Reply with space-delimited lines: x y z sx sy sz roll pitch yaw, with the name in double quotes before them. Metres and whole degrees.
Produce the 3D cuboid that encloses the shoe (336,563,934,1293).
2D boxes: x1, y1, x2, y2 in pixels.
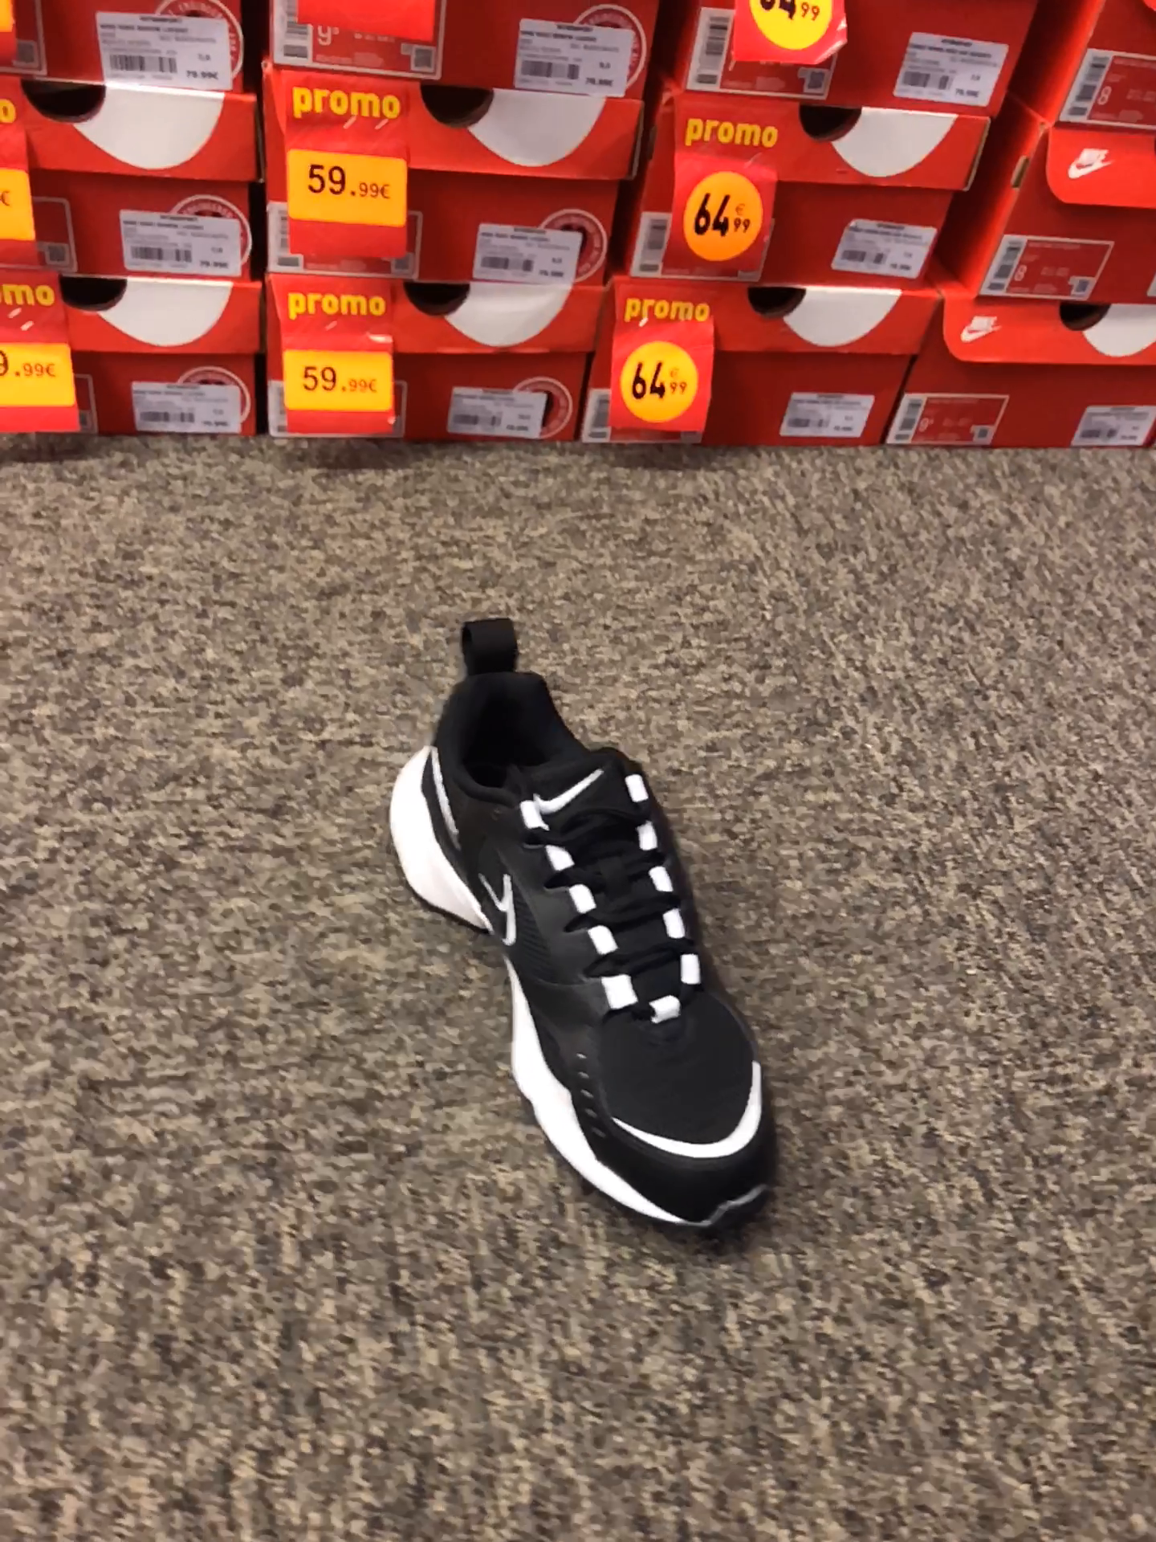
"shoe" 0.004 0.050 0.517 0.105 0.109 0.261 -17 55 -27
